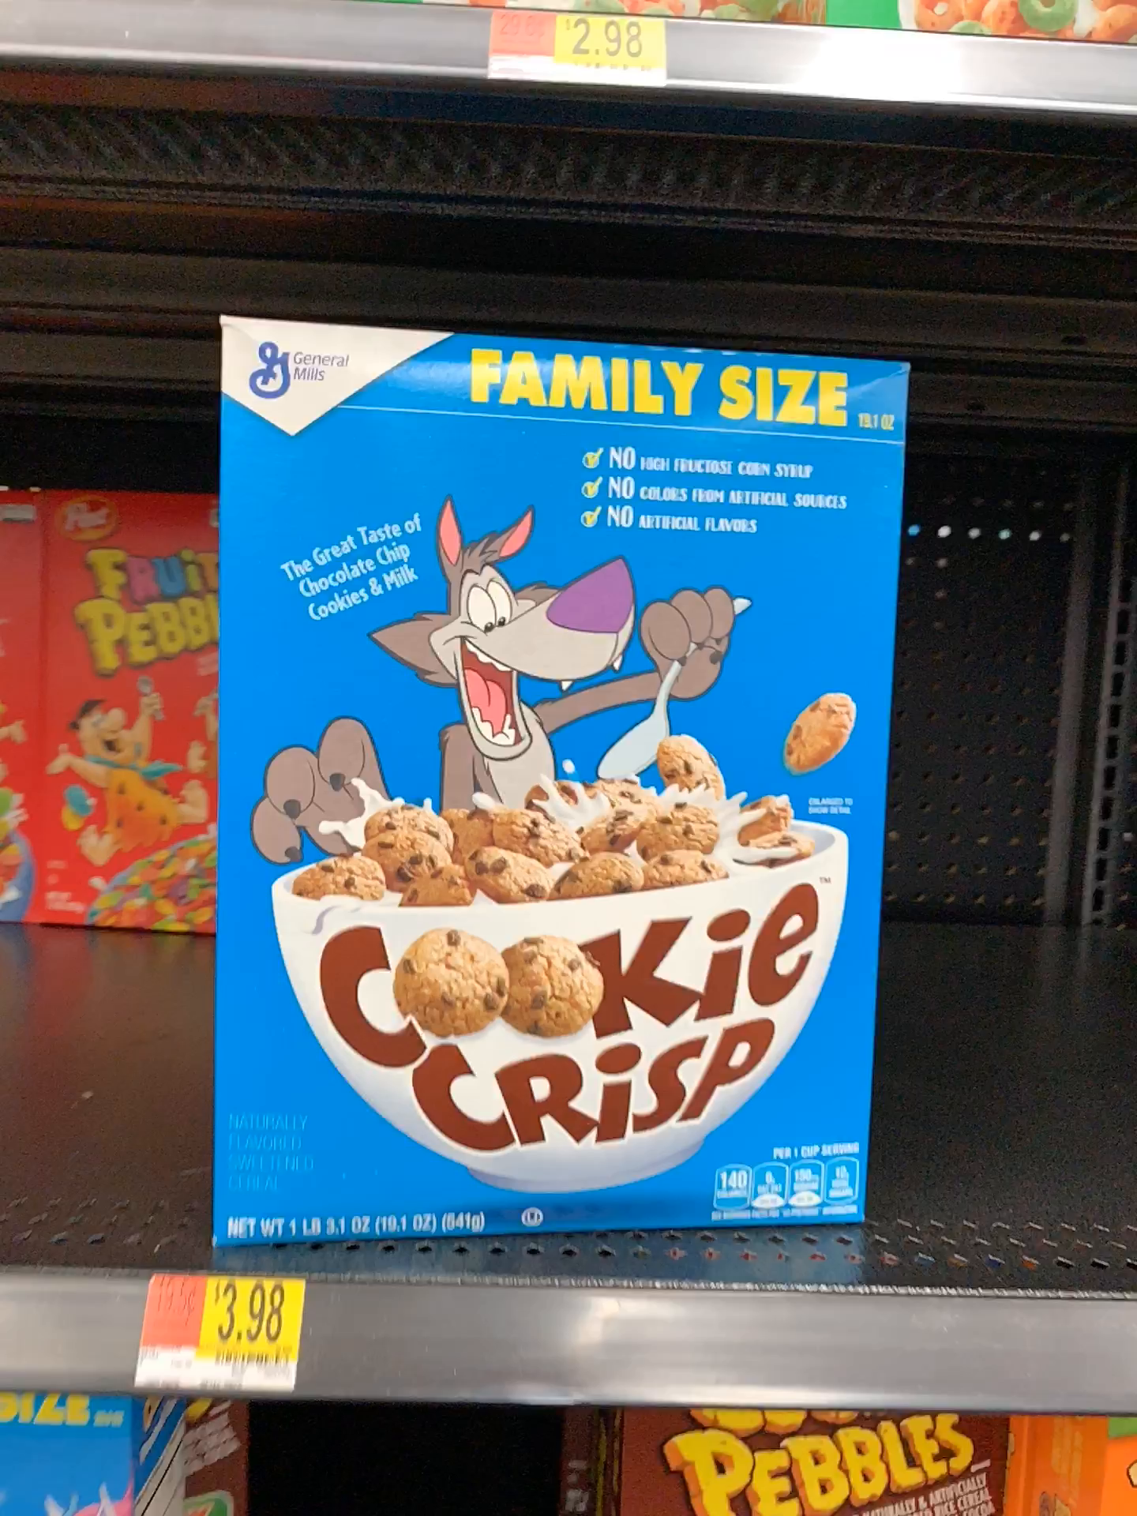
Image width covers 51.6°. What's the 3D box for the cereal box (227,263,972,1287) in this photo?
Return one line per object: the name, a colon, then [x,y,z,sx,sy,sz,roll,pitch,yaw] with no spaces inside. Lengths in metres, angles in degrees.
cereal box: [0.007,0.011,0.442,0.250,0.340,0.070,1,5,-9]
